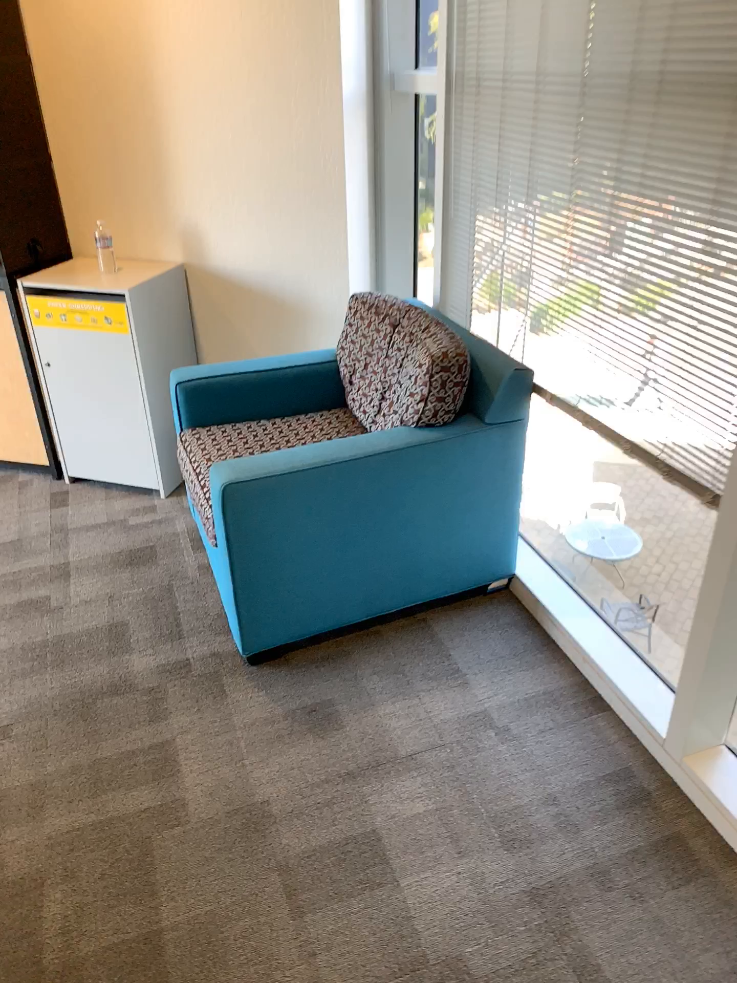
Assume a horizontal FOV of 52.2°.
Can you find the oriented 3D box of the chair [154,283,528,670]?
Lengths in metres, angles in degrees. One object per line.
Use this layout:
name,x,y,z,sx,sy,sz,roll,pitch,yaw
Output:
chair,-0.137,-0.129,2.519,0.920,0.825,0.915,-11,30,-17
